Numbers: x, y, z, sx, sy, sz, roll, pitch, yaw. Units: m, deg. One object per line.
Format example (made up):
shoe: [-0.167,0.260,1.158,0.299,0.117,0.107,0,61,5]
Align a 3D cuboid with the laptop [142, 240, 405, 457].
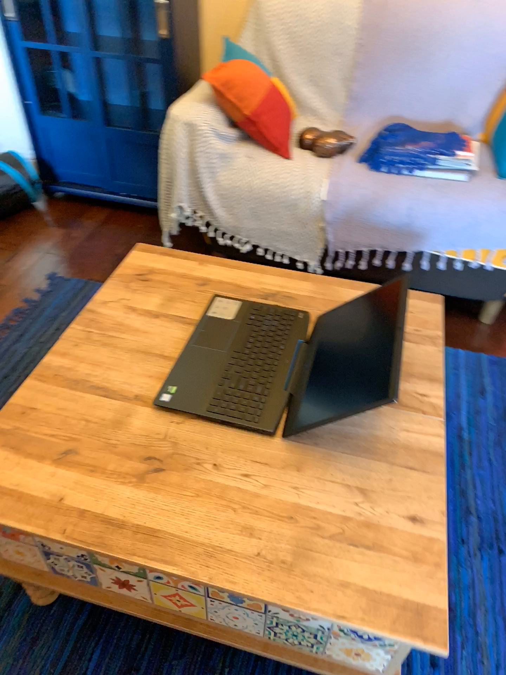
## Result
laptop: [0.059,-0.002,1.006,0.418,0.156,0.347,12,42,10]
